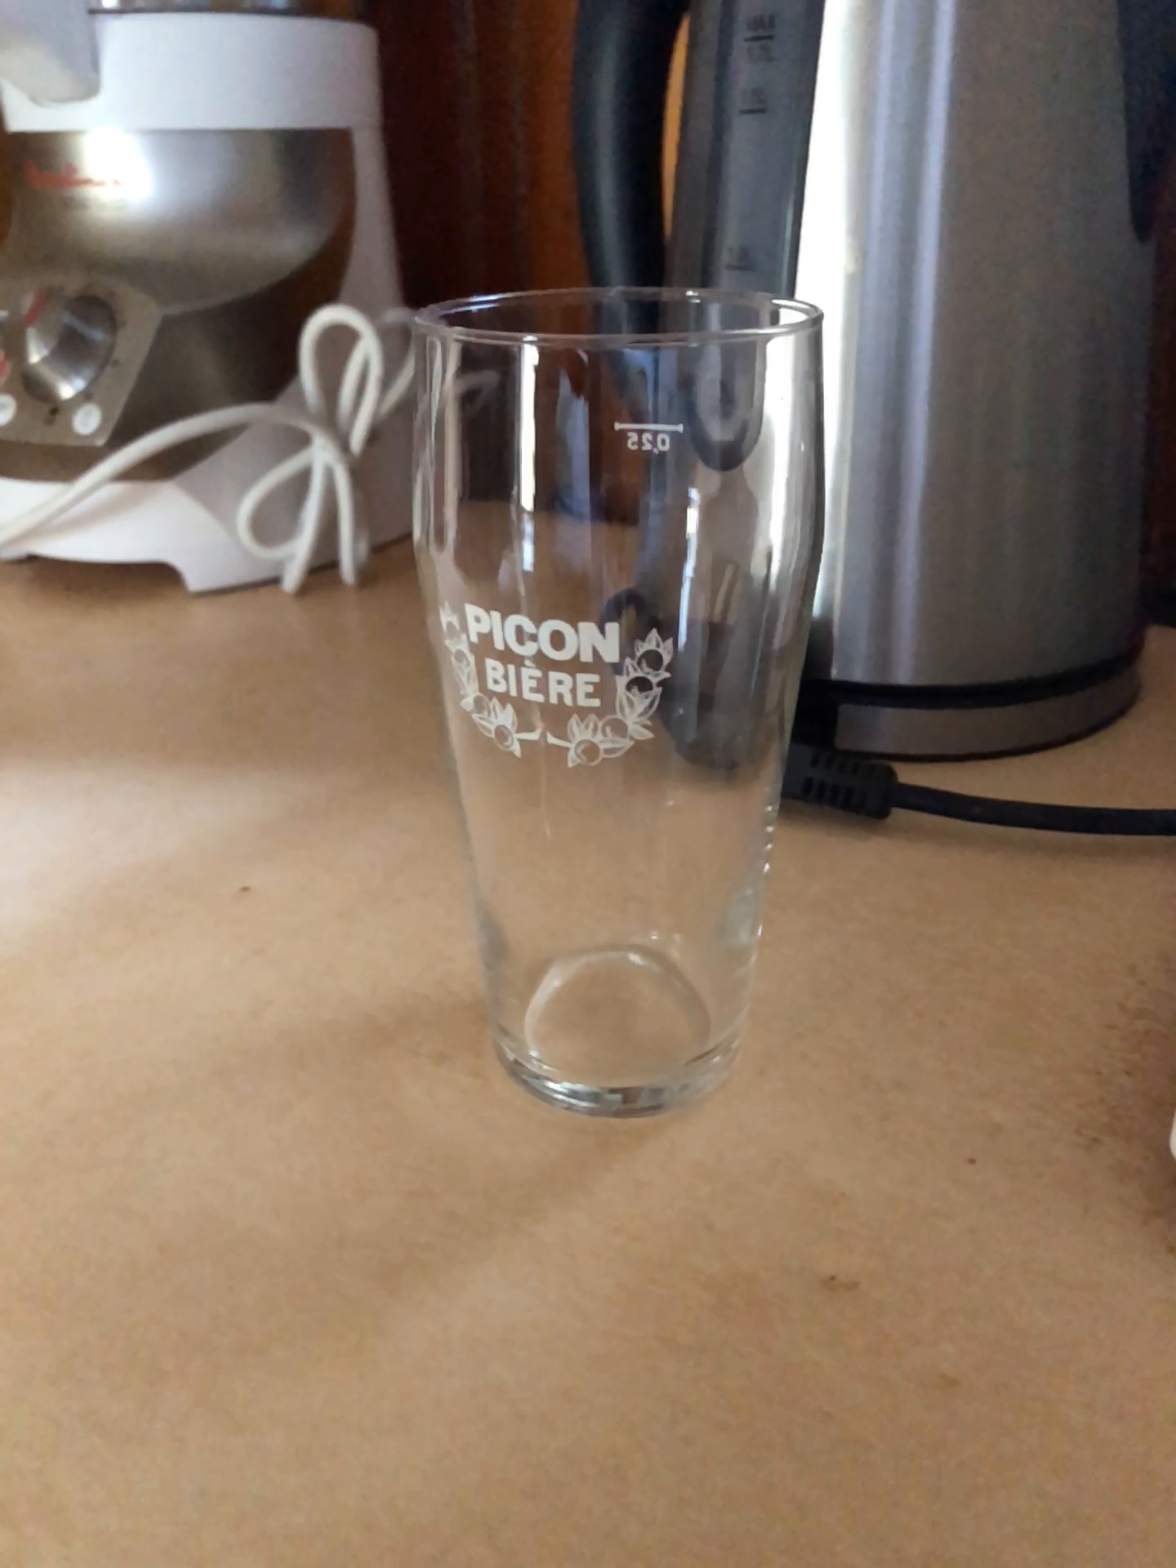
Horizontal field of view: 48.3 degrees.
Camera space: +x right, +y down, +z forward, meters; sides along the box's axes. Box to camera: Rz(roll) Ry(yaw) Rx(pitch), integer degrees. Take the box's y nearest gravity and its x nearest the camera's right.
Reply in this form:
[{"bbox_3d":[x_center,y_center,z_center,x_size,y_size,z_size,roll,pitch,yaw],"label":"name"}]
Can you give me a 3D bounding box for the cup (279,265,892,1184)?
[{"bbox_3d":[0.005,-0.014,0.221,0.070,0.129,0.070,-1,26,0],"label":"cup"}]
